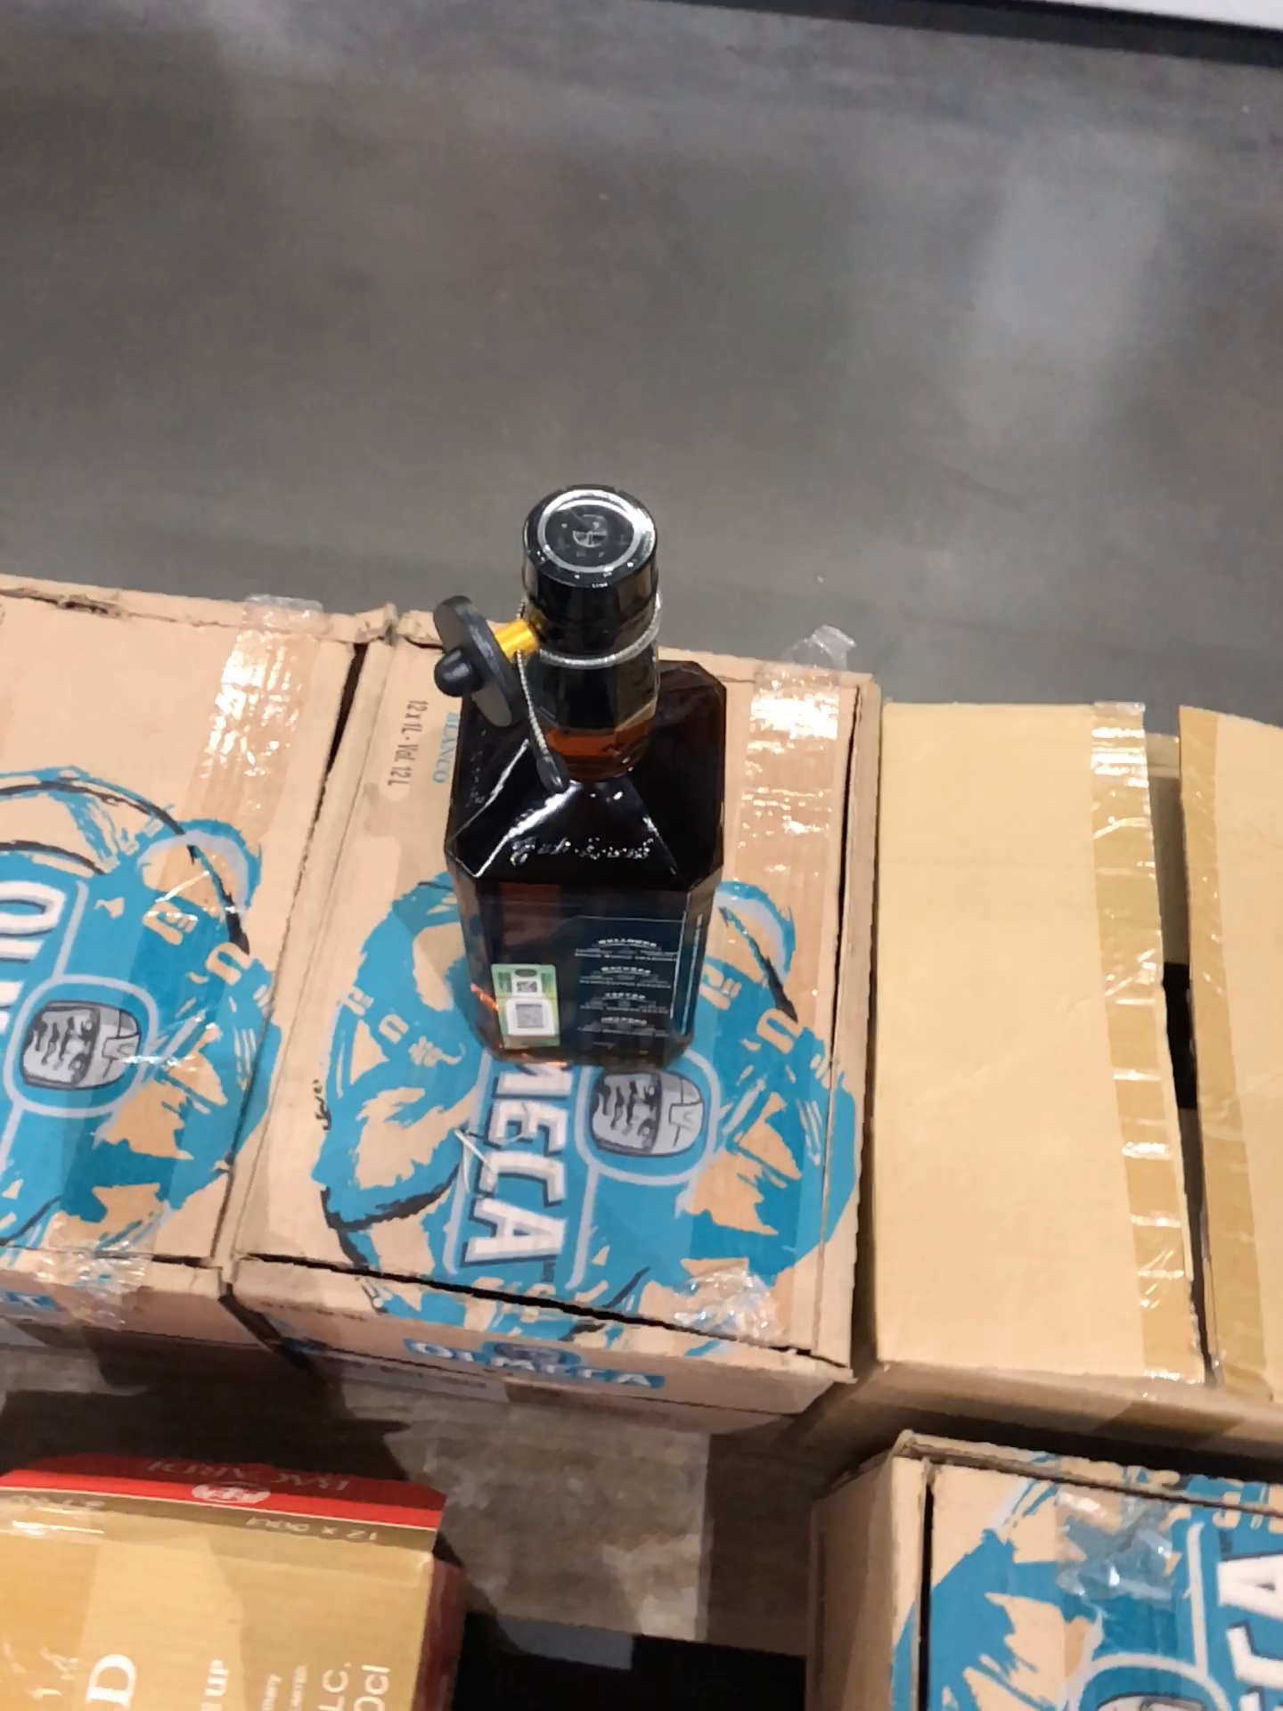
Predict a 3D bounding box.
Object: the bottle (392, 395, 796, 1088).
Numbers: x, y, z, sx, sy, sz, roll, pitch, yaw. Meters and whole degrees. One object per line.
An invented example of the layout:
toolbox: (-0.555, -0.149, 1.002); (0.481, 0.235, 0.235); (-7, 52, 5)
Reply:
bottle: (-0.017, -0.017, 0.546); (0.110, 0.308, 0.111); (1, 61, -2)
